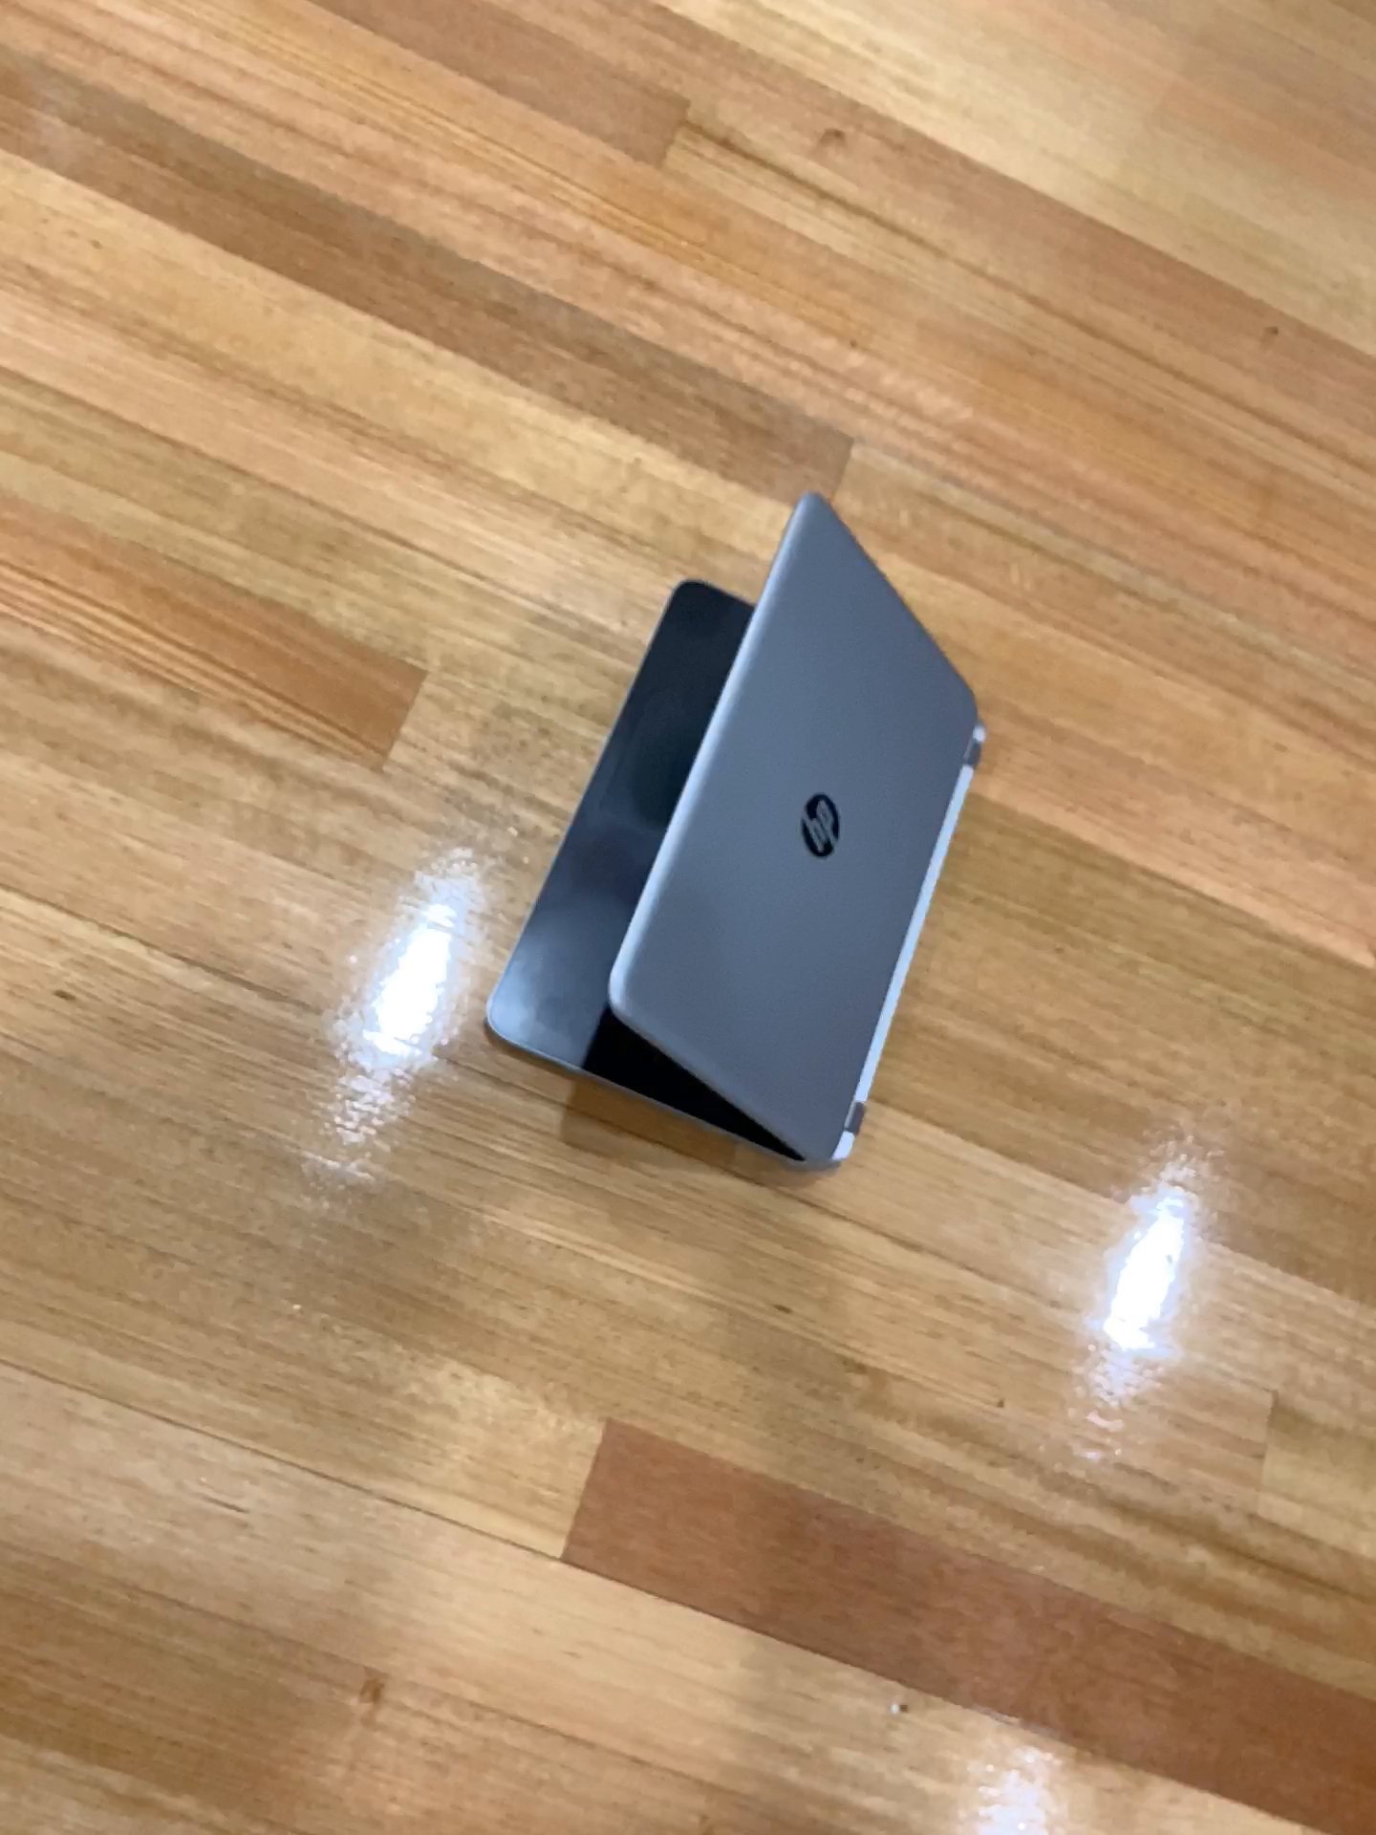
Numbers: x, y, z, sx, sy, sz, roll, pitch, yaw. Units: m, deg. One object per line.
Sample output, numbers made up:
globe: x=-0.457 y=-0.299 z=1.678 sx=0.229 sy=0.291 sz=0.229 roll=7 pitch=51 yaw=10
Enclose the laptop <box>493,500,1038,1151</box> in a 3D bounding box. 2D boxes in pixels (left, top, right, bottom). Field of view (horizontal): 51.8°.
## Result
laptop: x=0.053 y=-0.055 z=0.860 sx=0.209 sy=0.102 sz=0.333 roll=24 pitch=68 yaw=-7
